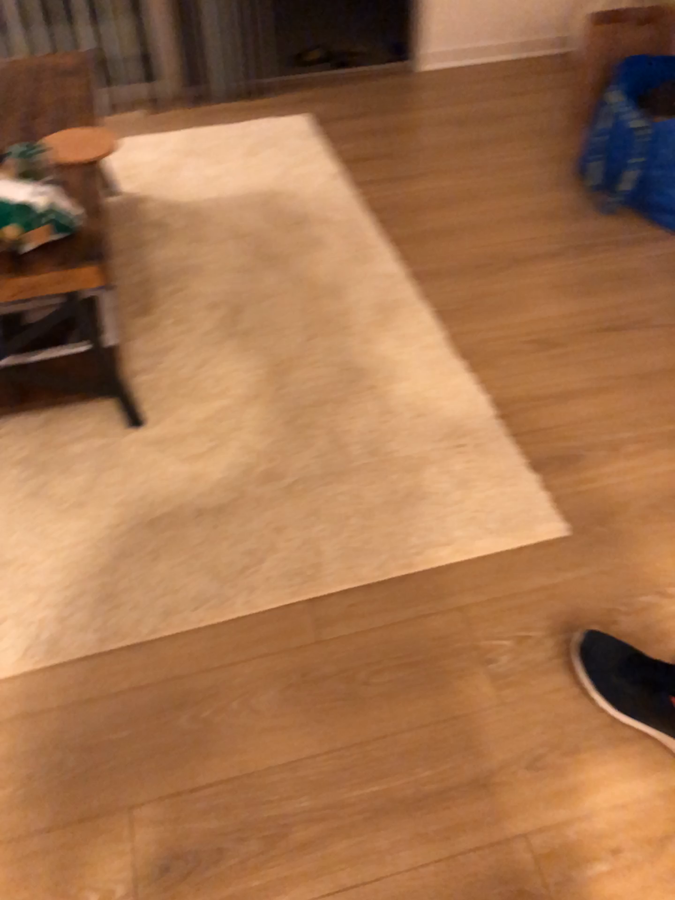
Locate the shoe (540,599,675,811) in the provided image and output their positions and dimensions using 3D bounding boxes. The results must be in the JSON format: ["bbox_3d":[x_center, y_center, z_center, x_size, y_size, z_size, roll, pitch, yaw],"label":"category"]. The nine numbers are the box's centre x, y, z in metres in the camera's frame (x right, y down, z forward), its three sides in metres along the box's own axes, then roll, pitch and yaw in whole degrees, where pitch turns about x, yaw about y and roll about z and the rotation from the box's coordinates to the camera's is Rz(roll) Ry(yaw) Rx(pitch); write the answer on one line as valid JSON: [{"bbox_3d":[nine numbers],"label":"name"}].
[{"bbox_3d":[0.487,0.384,1.155,0.300,0.100,0.130,32,54,29],"label":"shoe"}]
